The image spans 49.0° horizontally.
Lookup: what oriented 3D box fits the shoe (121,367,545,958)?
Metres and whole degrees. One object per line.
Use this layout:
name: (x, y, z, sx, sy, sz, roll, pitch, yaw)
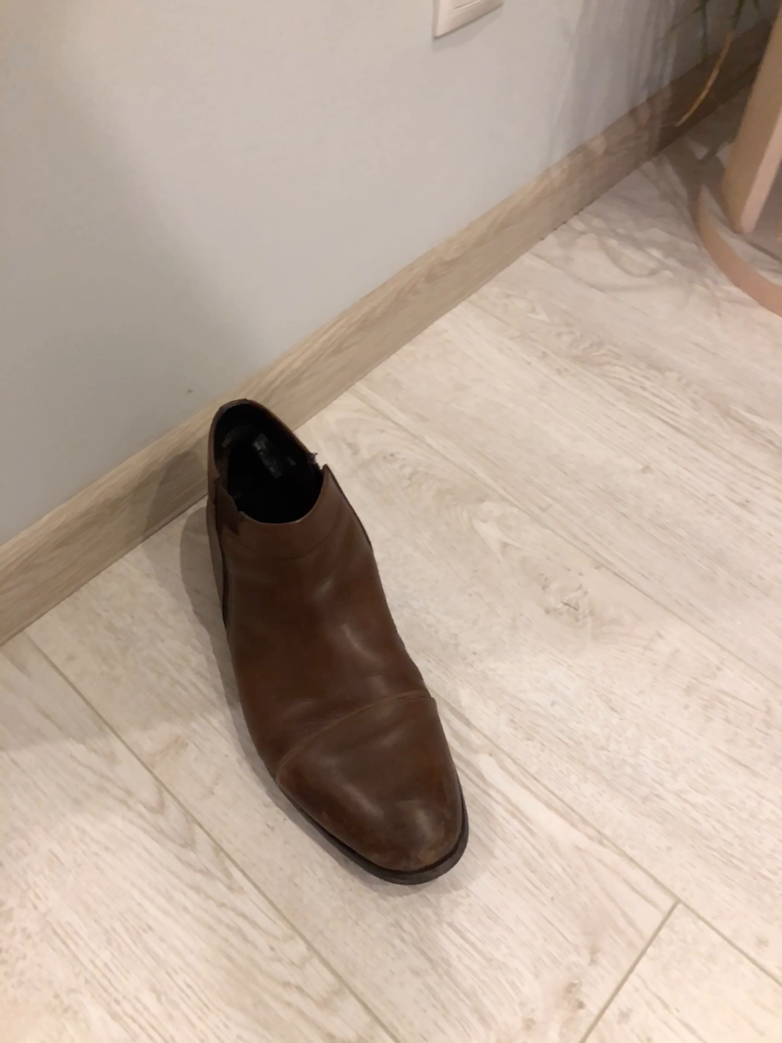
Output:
shoe: (-0.049, 0.063, 0.507, 0.120, 0.109, 0.311, -20, 55, -15)
